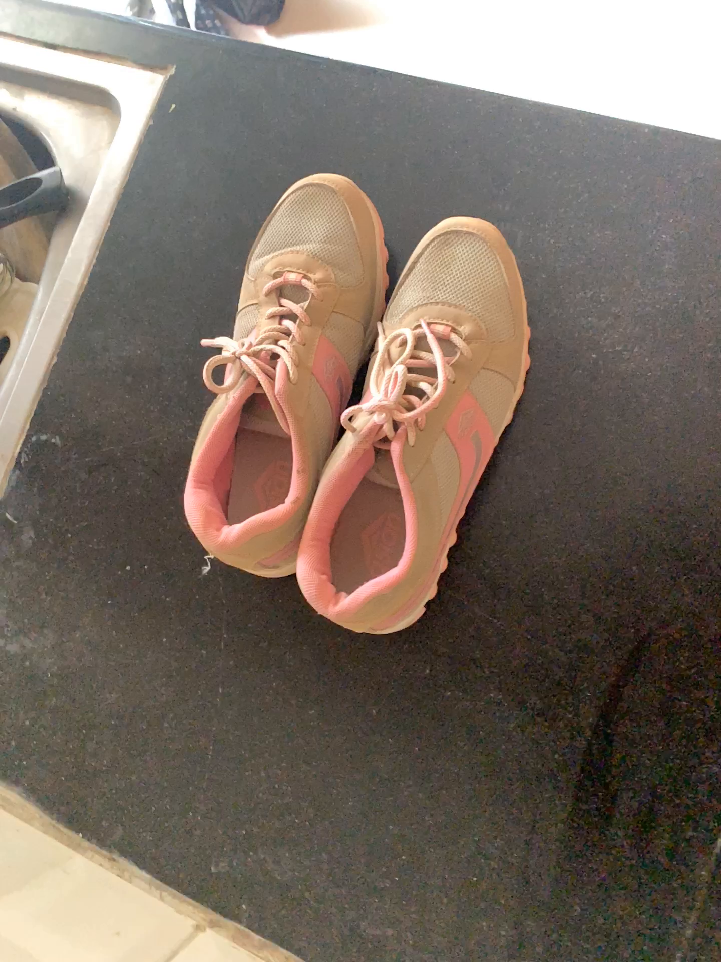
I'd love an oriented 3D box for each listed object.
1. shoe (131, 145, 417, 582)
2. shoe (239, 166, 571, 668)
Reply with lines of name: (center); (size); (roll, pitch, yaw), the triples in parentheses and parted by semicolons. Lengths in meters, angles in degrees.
shoe: (-0.043, -0.063, 0.446); (0.090, 0.100, 0.230); (12, 85, 15)
shoe: (0.033, -0.032, 0.421); (0.100, 0.100, 0.240); (17, 86, 15)
